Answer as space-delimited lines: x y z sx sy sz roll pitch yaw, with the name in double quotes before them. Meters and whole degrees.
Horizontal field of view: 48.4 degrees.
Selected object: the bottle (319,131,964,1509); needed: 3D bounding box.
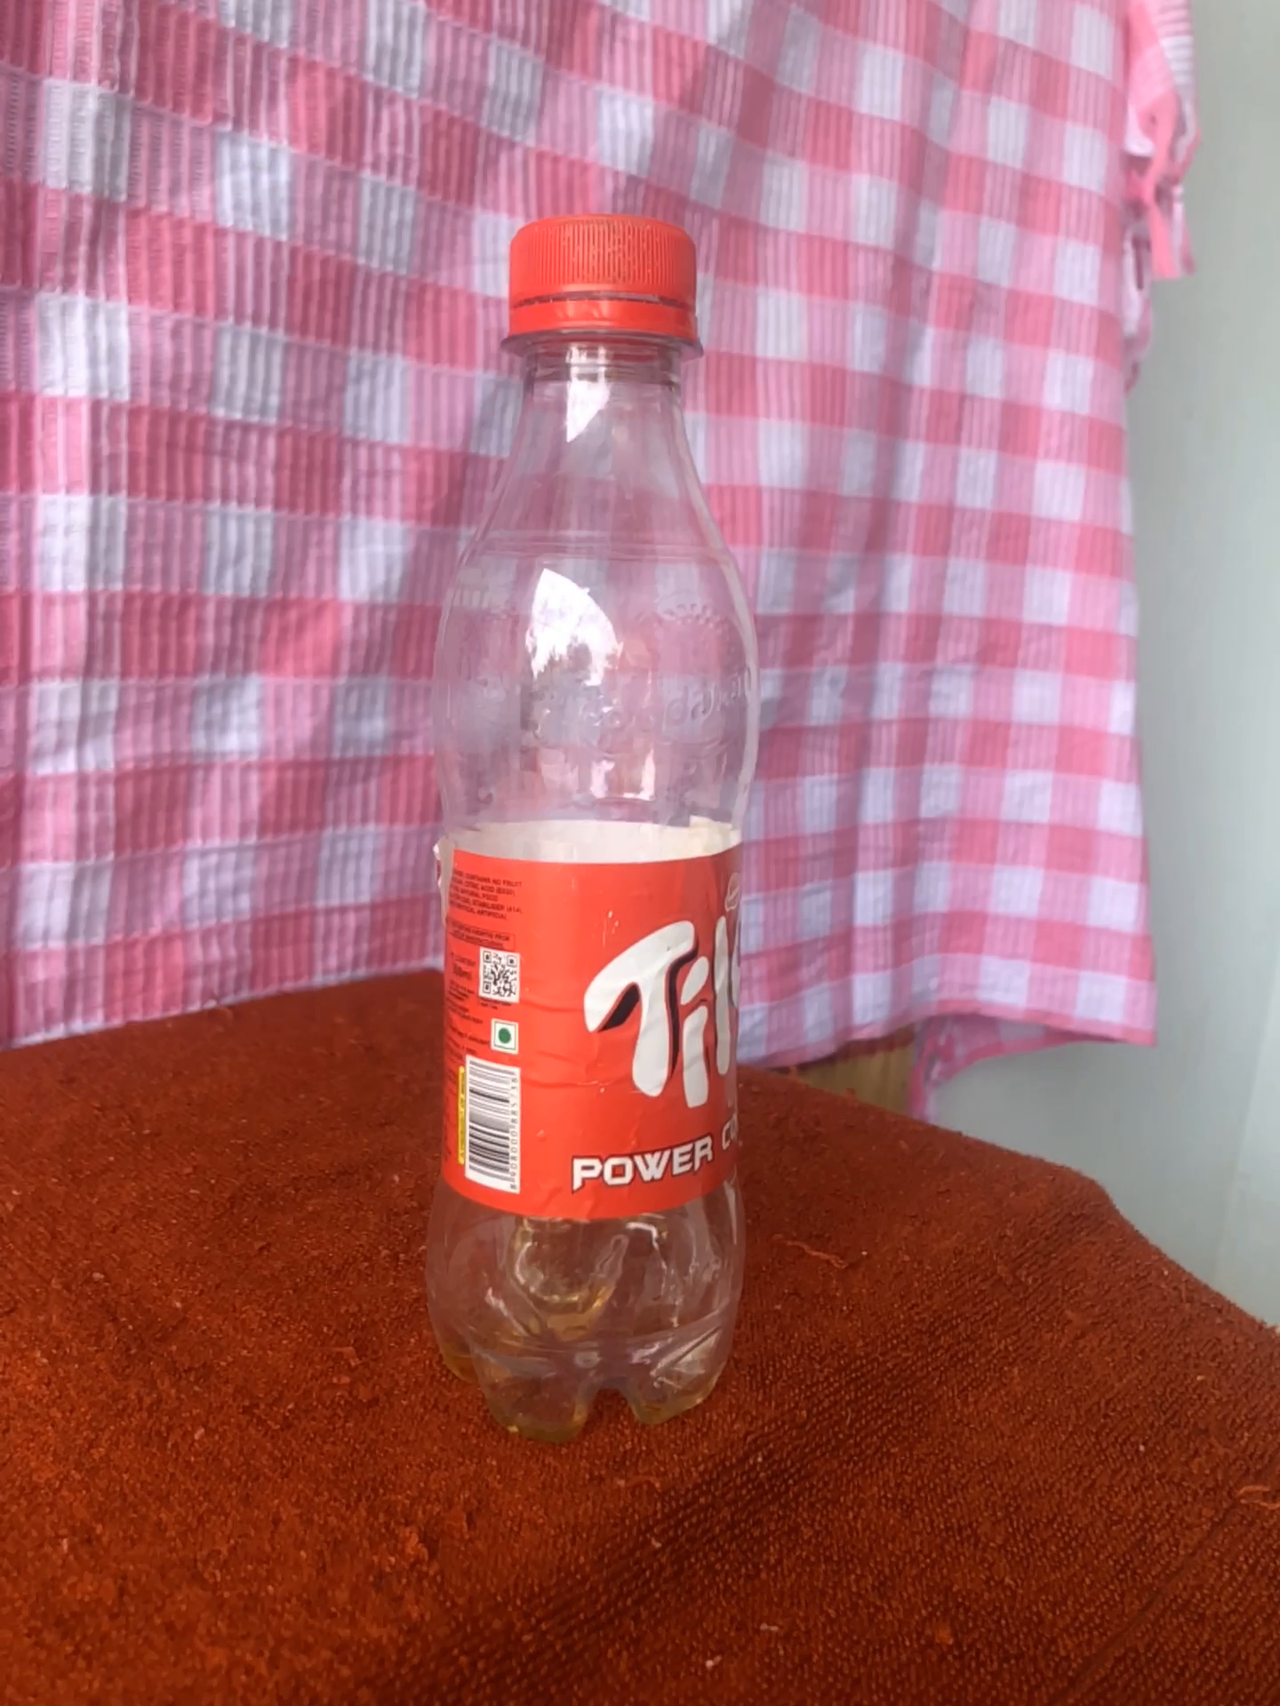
"bottle" -0.002 -0.005 0.233 0.060 0.190 0.060 7 10 -1
